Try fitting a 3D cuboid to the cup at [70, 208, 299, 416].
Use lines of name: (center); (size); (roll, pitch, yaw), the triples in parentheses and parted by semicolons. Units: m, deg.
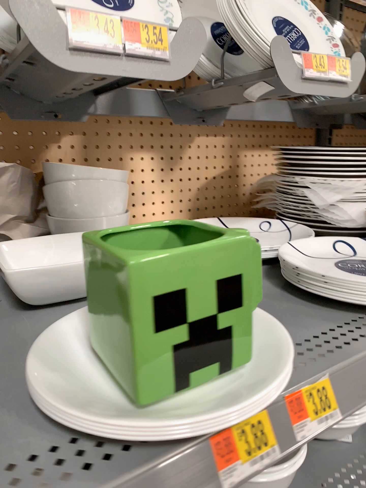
cup: (-0.001, 0.036, 0.301); (0.142, 0.104, 0.106); (-9, 16, -30)
